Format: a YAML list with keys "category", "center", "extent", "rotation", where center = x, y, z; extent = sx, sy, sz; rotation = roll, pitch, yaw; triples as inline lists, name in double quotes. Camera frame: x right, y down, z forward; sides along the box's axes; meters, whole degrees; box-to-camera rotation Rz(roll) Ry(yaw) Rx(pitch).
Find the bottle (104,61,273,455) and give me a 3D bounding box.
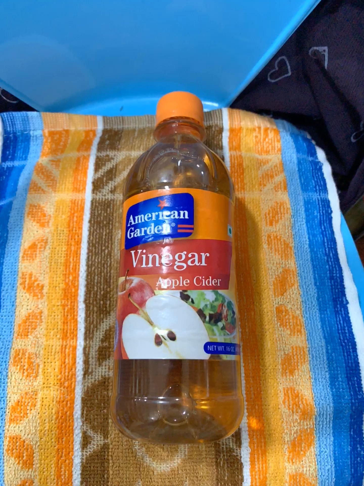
- category: "bottle"
  center: [0.010, 0.002, 0.201]
  extent: [0.070, 0.050, 0.180]
  rotation: [-1, 74, 13]
